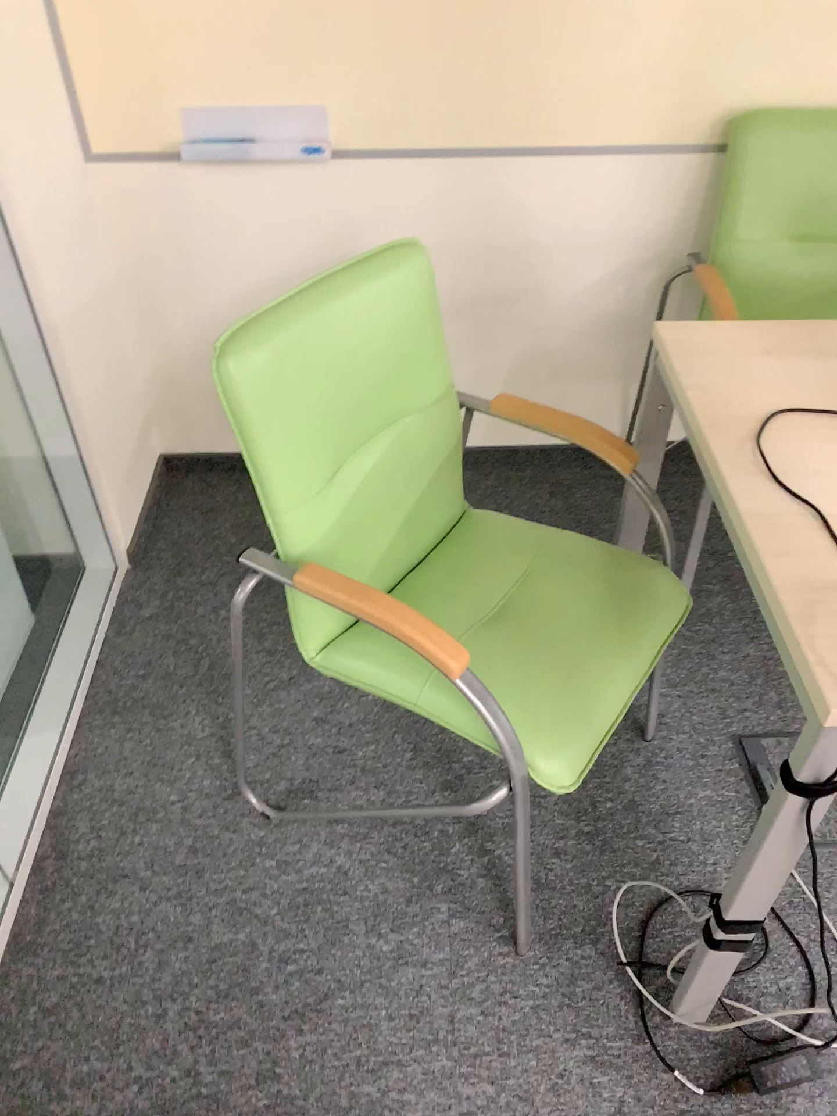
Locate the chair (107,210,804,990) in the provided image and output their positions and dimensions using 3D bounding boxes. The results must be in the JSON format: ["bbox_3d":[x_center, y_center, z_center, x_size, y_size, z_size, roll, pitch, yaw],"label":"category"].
[{"bbox_3d":[0.076,0.046,1.411,0.651,0.896,0.673,25,47,26],"label":"chair"}]
